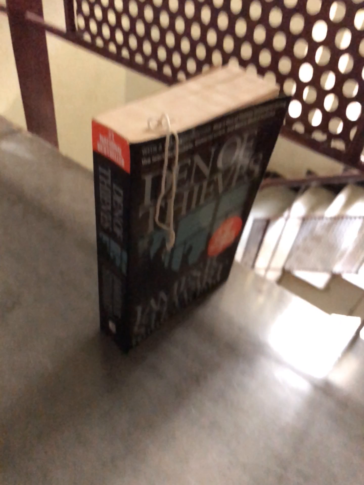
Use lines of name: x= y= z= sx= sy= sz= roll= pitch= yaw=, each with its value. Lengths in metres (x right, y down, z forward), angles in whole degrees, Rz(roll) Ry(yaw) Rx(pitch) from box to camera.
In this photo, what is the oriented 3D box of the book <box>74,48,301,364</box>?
book: x=0.002 y=-0.025 z=0.342 sx=0.050 sy=0.219 sz=0.170 roll=35 pitch=49 yaw=25
